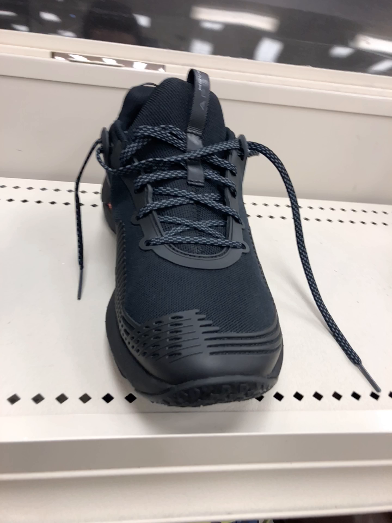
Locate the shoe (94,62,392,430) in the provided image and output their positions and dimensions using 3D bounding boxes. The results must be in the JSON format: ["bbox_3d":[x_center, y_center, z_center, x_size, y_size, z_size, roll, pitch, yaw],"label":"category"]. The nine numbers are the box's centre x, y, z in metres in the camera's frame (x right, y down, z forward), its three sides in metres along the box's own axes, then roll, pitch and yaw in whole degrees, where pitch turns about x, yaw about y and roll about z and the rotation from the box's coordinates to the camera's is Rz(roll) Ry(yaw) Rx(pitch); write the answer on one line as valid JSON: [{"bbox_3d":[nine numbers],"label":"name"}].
[{"bbox_3d":[-0.013,-0.062,0.338,0.120,0.129,0.353,1,29,-13],"label":"shoe"}]
